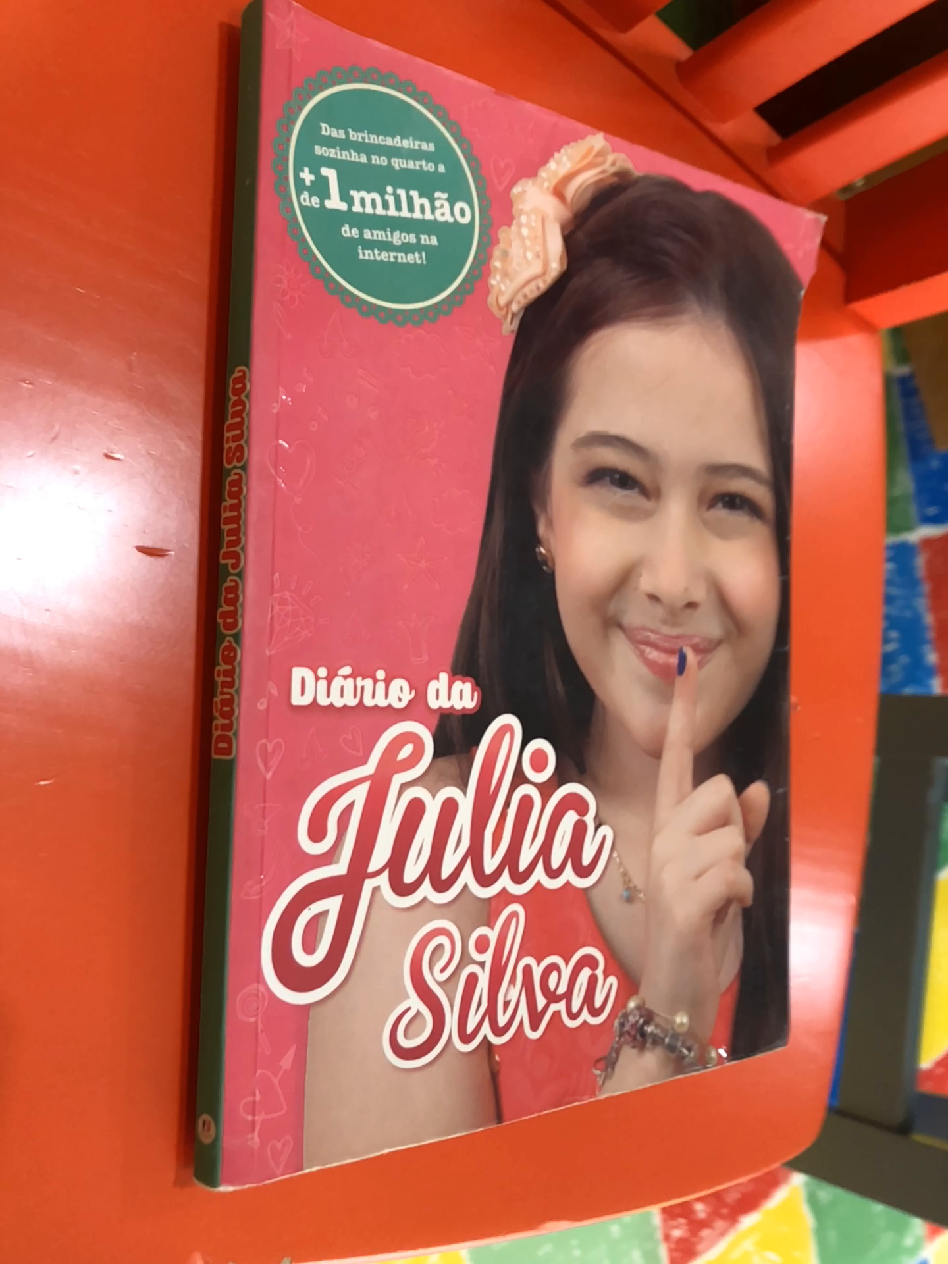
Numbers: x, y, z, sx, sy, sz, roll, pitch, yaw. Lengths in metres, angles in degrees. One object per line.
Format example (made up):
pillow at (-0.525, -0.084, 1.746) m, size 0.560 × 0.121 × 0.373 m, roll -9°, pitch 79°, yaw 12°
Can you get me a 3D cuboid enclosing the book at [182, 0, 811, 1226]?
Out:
book at (0.021, -0.010, 0.256) m, size 0.172 × 0.020 × 0.241 m, roll 5°, pitch 84°, yaw -38°
